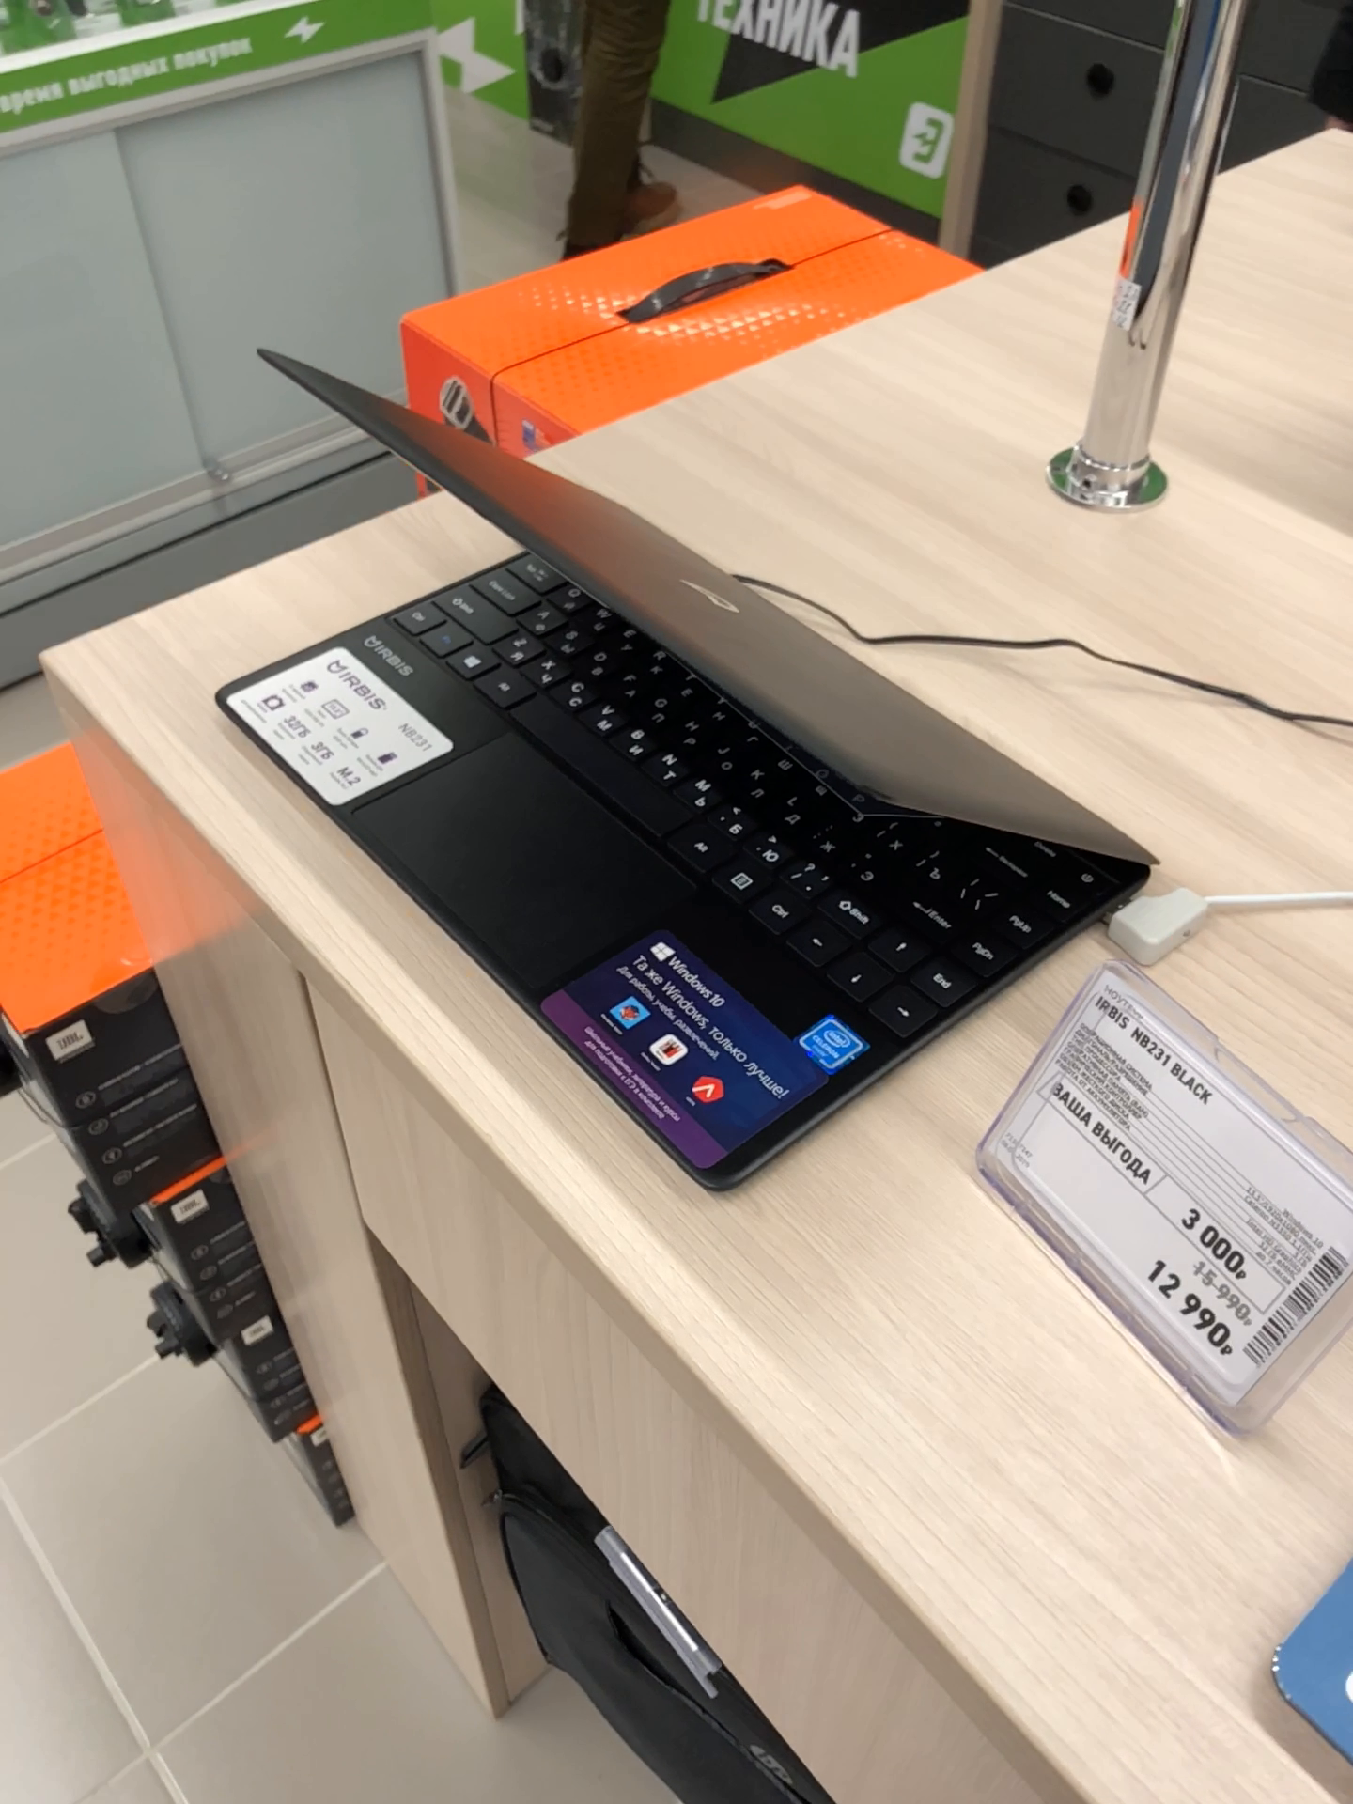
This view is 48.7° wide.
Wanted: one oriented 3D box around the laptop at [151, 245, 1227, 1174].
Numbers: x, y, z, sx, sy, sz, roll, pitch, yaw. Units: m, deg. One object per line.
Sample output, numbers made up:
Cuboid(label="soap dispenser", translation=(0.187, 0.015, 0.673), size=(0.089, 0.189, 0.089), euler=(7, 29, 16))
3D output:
Cuboid(label="laptop", translation=(-0.009, -0.093, 0.528), size=(0.203, 0.132, 0.300), euler=(-30, 53, -27))
